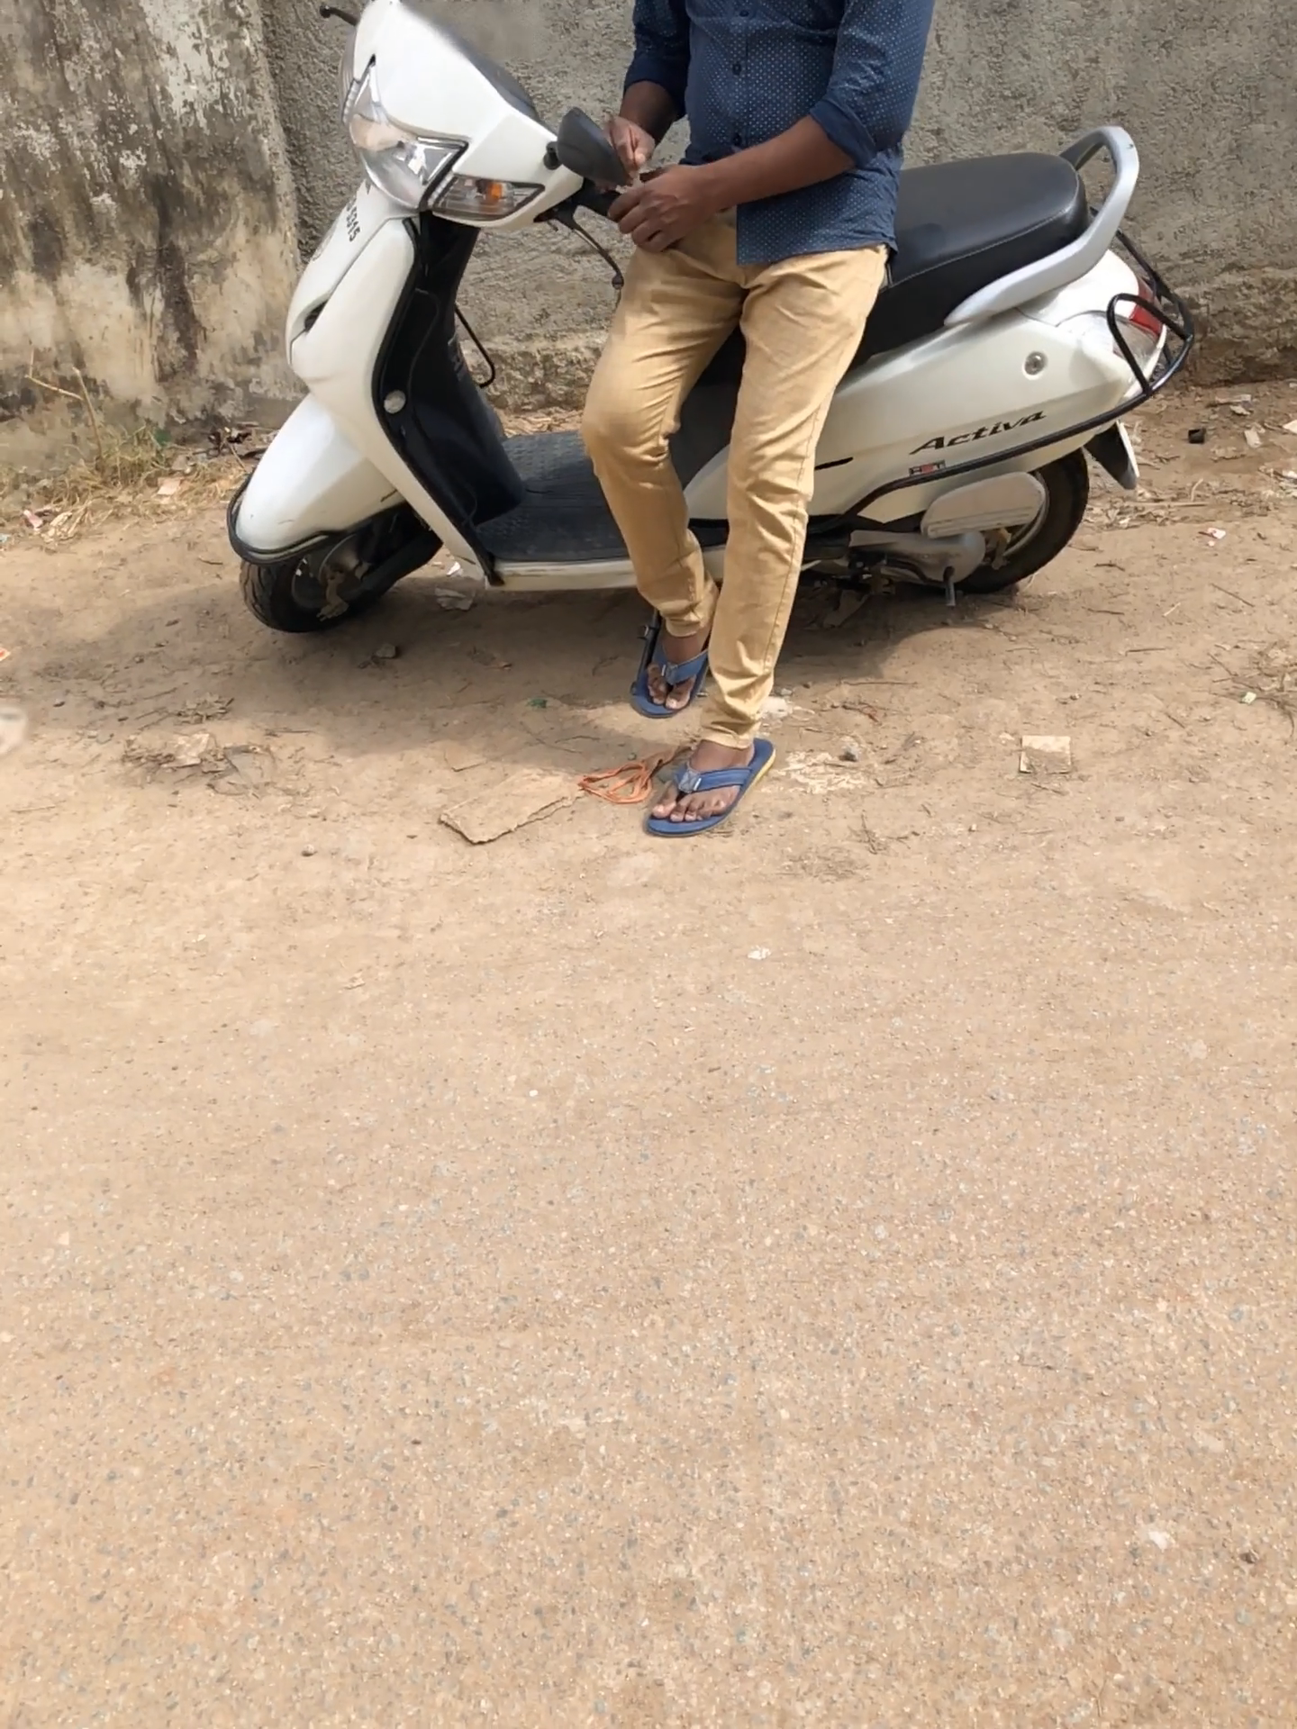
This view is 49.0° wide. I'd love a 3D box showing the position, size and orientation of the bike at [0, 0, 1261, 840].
[{"bbox_3d":[0.004,-0.782,2.387,1.623,1.139,0.673,-5,36,0],"label":"bike"}]
